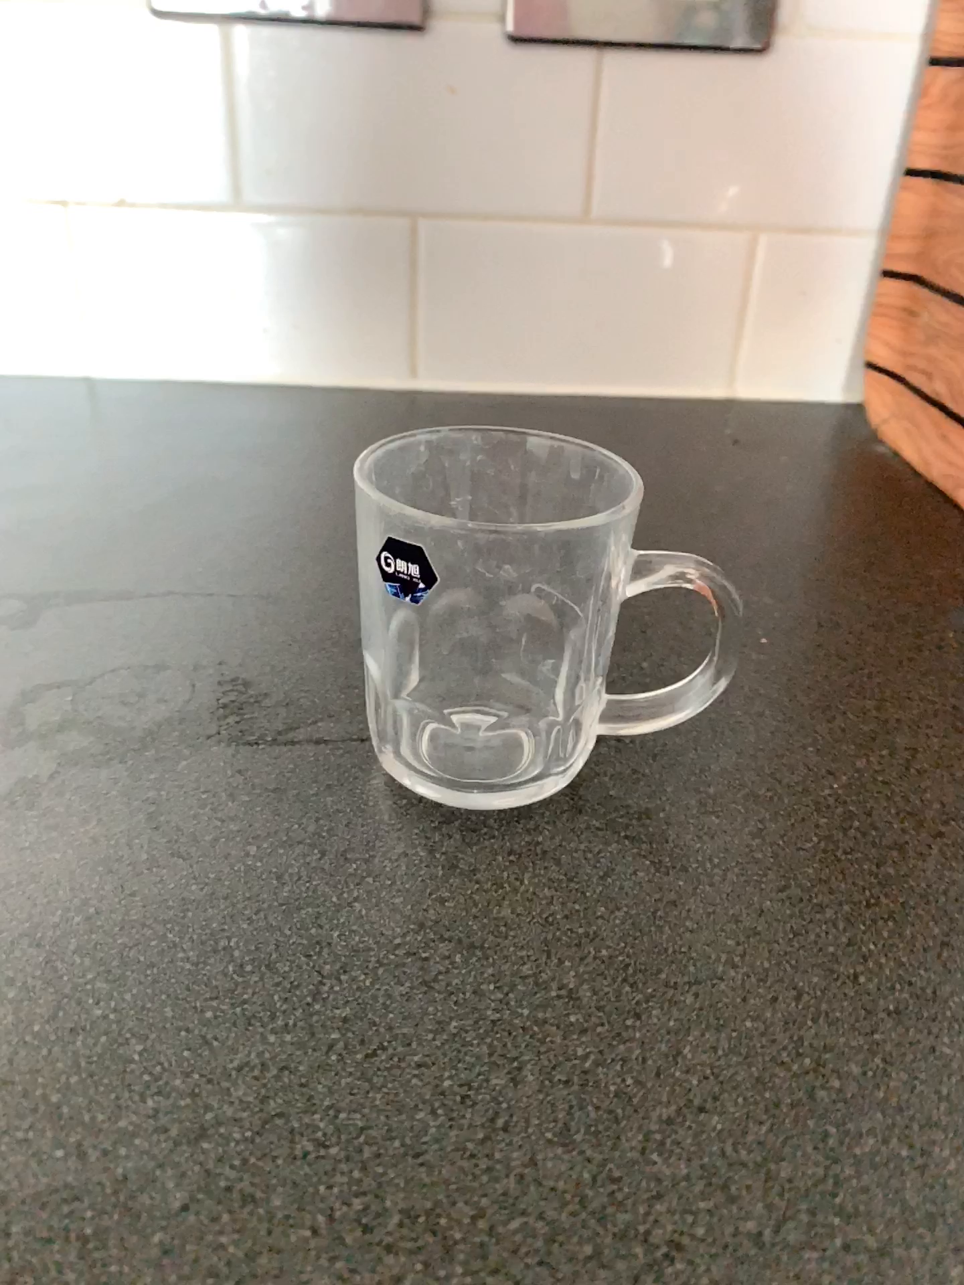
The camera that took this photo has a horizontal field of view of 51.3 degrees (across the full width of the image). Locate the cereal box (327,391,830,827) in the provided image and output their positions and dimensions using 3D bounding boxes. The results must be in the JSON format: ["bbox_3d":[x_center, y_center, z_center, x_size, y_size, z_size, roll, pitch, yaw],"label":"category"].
[{"bbox_3d":[0.017,-0.012,0.273,0.110,0.089,0.081,0,29,-5],"label":"cereal box"}]
